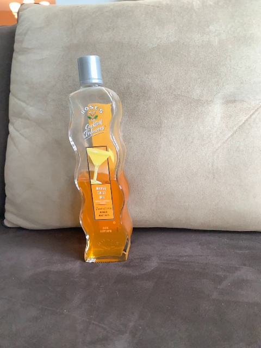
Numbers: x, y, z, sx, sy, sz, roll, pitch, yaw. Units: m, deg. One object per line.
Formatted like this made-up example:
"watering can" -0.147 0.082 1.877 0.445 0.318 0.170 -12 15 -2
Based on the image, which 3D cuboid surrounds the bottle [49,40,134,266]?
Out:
"bottle" -0.048 -0.023 0.399 0.080 0.299 0.080 -4 10 1
